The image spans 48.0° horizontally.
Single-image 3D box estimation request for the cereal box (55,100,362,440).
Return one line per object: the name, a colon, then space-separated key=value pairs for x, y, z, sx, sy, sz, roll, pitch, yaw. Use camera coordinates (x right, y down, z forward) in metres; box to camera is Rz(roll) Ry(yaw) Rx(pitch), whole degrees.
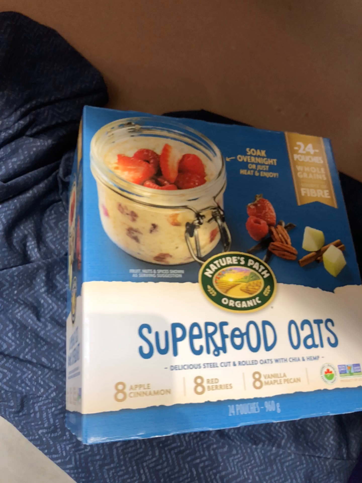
cereal box: x=0.017 y=0.032 z=0.385 sx=0.251 sy=0.150 sz=0.240 roll=2 pitch=70 yaw=-20
